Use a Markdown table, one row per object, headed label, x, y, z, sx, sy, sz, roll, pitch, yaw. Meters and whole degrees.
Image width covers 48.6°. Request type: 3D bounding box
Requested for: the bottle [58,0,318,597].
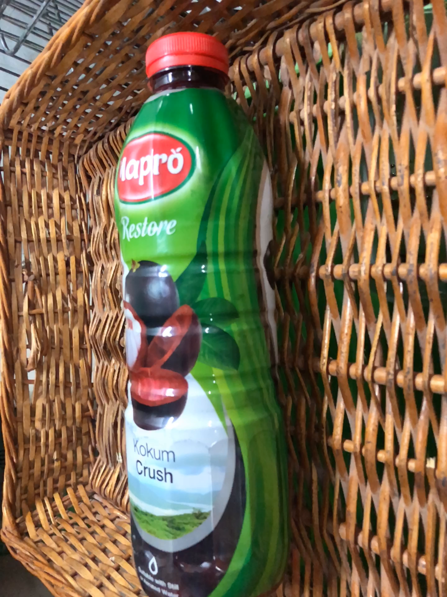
| label | x | y | z | sx | sy | sz | roll | pitch | yaw |
| --- | --- | --- | --- | --- | --- | --- | --- | --- | --- |
| bottle | -0.017 | -0.002 | 0.234 | 0.080 | 0.080 | 0.270 | -2 | 90 | 45 |
